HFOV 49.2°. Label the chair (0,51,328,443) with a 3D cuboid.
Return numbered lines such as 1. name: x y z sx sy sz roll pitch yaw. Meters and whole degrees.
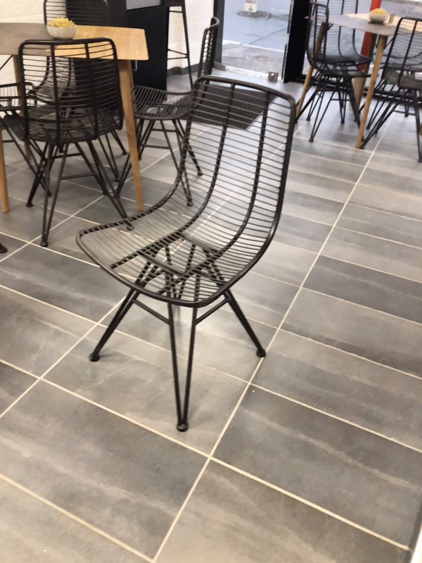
1. chair: -0.107 -0.117 1.244 0.500 0.785 0.523 28 43 30
